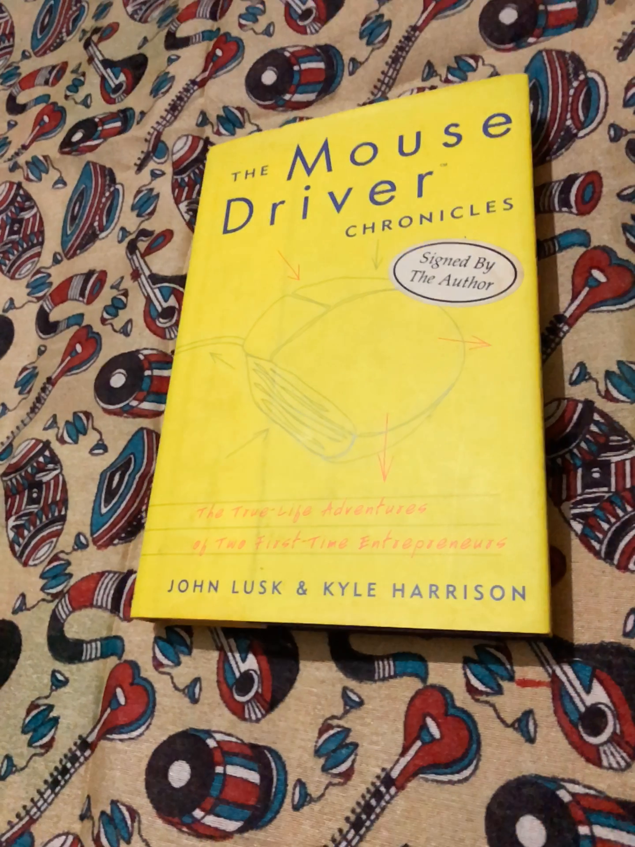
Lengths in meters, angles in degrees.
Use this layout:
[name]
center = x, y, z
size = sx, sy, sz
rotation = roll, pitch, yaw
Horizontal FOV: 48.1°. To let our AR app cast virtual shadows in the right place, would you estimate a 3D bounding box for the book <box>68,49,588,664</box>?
[book]
center = 0.009, -0.031, 0.270
size = 0.160, 0.040, 0.220
rotation = -4, 63, 20
